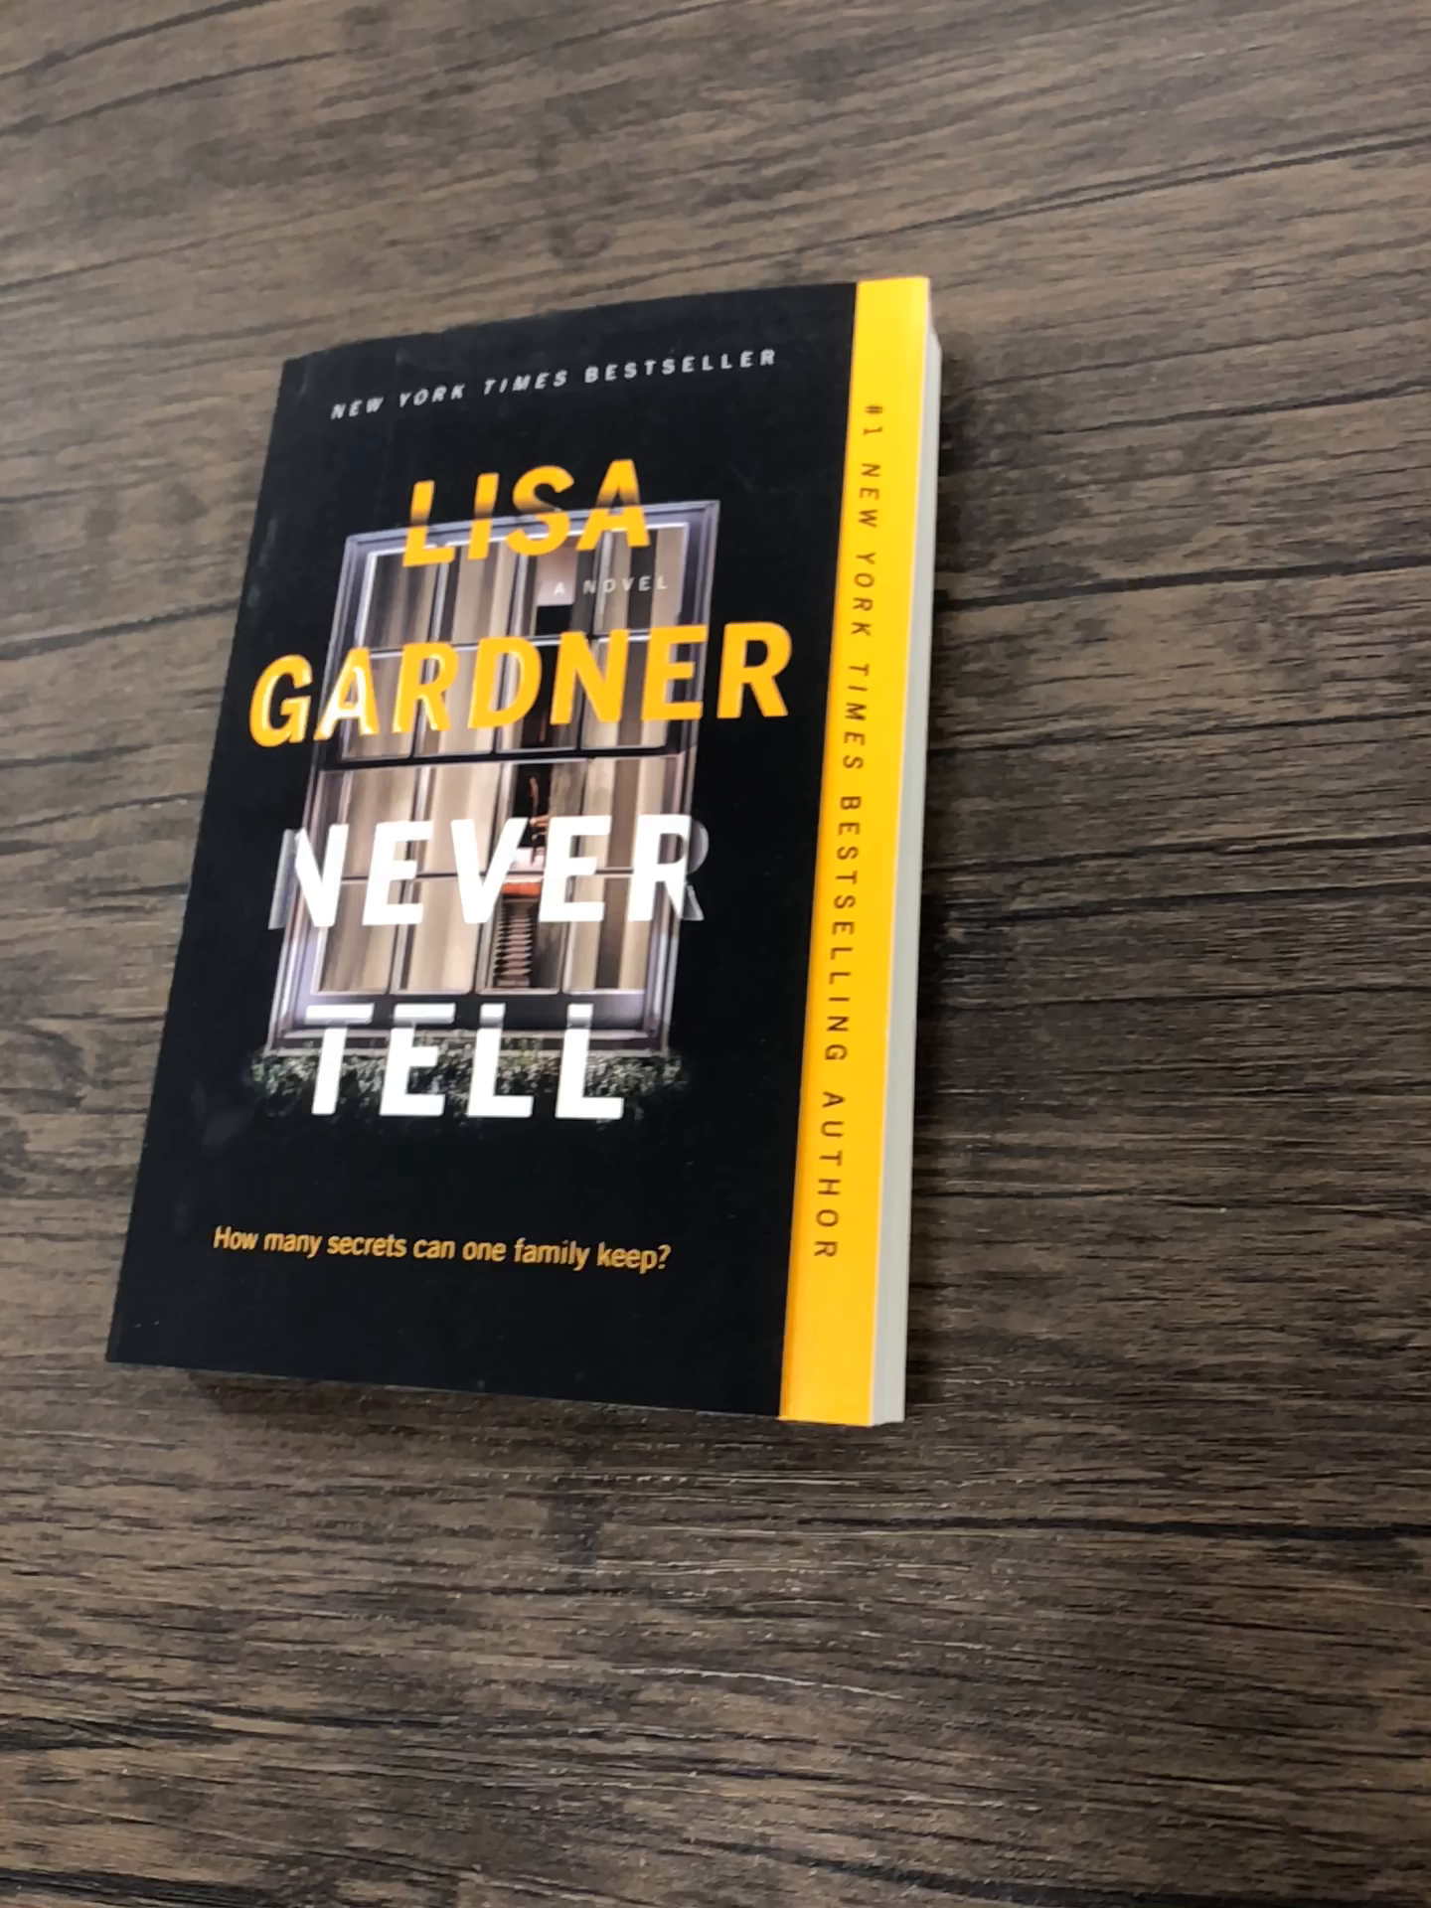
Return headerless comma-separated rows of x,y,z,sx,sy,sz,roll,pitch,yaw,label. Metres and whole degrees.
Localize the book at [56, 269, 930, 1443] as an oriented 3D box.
-0.035,-0.023,0.300,0.137,0.032,0.207,0,73,17,book
